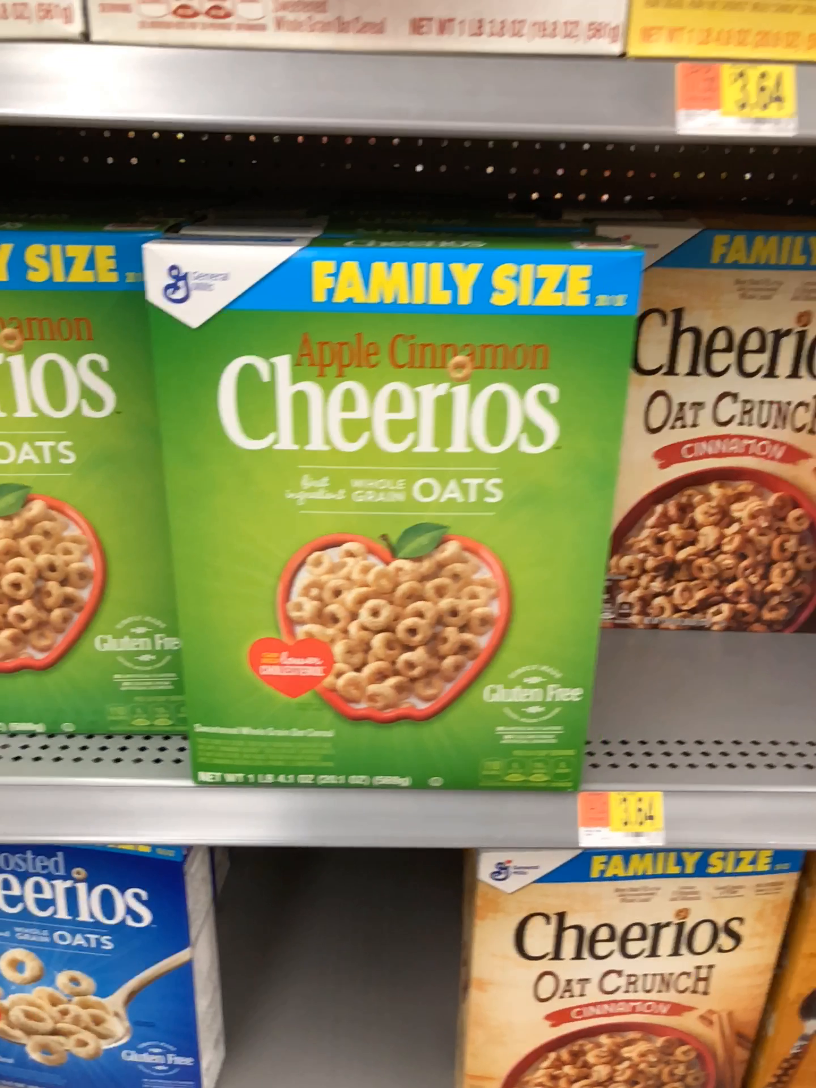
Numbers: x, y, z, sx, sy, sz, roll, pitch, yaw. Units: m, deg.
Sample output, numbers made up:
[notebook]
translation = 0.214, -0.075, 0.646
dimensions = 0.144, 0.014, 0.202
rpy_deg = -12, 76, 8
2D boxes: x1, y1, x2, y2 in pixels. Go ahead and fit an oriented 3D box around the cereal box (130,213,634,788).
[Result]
[cereal box]
translation = -0.016, -0.013, 0.498
dimensions = 0.230, 0.309, 0.060
rpy_deg = 1, 22, -1
